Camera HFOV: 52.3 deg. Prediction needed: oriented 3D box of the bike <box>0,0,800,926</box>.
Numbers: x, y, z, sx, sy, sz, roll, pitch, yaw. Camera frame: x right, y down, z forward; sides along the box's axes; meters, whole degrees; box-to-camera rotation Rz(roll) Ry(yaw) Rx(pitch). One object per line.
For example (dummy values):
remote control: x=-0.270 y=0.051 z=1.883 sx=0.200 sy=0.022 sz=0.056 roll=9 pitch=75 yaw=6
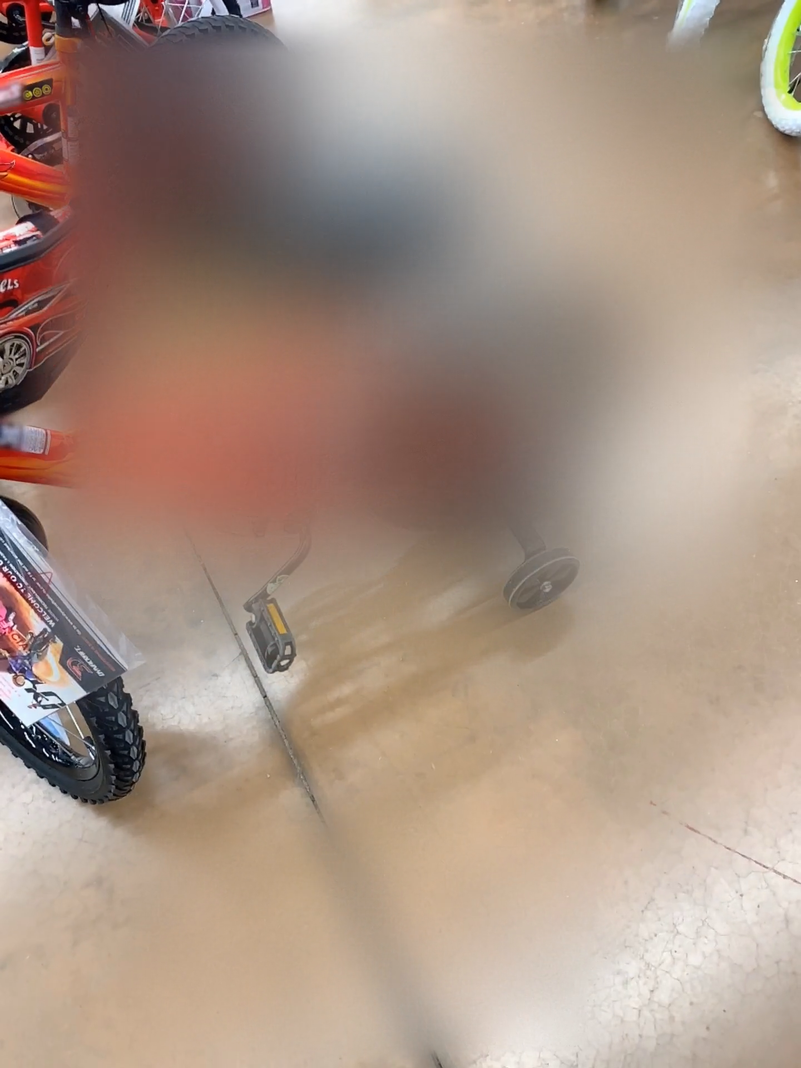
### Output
bike: x=-0.088 y=-0.117 z=0.940 sx=0.740 sy=0.824 sz=0.511 roll=-38 pitch=60 yaw=-12
